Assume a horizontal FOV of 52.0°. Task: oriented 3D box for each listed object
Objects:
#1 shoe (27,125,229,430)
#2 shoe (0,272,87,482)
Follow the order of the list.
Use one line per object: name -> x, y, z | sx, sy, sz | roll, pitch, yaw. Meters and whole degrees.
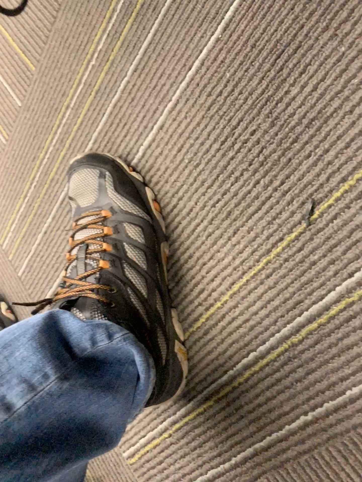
shoe -> -0.067, 0.044, 0.449 | 0.123, 0.095, 0.322 | -21, 85, 36
shoe -> -0.311, 0.231, 0.658 | 0.126, 0.095, 0.323 | -45, 71, 32
